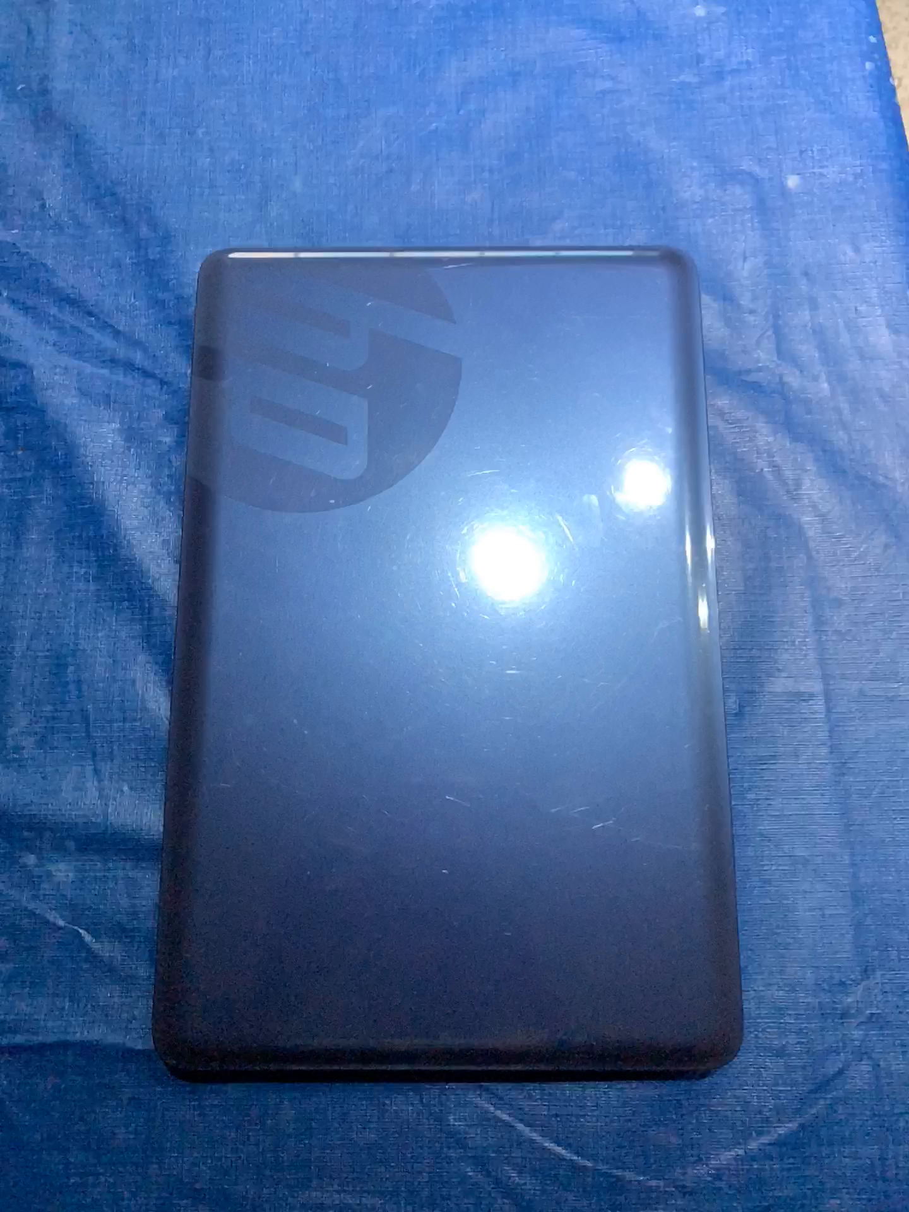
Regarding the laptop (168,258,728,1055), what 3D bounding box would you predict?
[{"bbox_3d":[-0.002,0.009,0.429,0.235,0.009,0.364,0,79,0],"label":"laptop"}]
